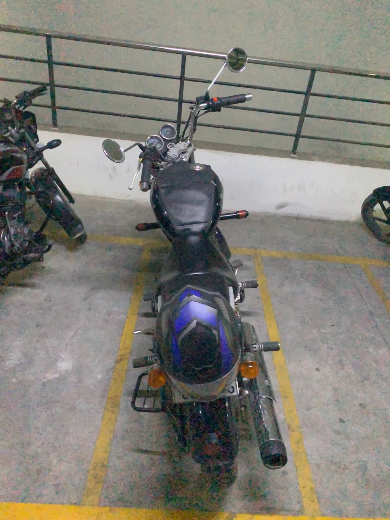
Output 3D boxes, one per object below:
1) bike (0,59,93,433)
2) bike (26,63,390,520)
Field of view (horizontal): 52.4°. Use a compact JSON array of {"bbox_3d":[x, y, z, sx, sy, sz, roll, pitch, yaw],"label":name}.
[{"bbox_3d":[-1.165,-0.236,2.031,0.593,1.193,1.510,14,34,9],"label":"bike"},{"bbox_3d":[-0.143,0.011,1.803,0.842,1.303,1.674,-1,34,-13],"label":"bike"}]
